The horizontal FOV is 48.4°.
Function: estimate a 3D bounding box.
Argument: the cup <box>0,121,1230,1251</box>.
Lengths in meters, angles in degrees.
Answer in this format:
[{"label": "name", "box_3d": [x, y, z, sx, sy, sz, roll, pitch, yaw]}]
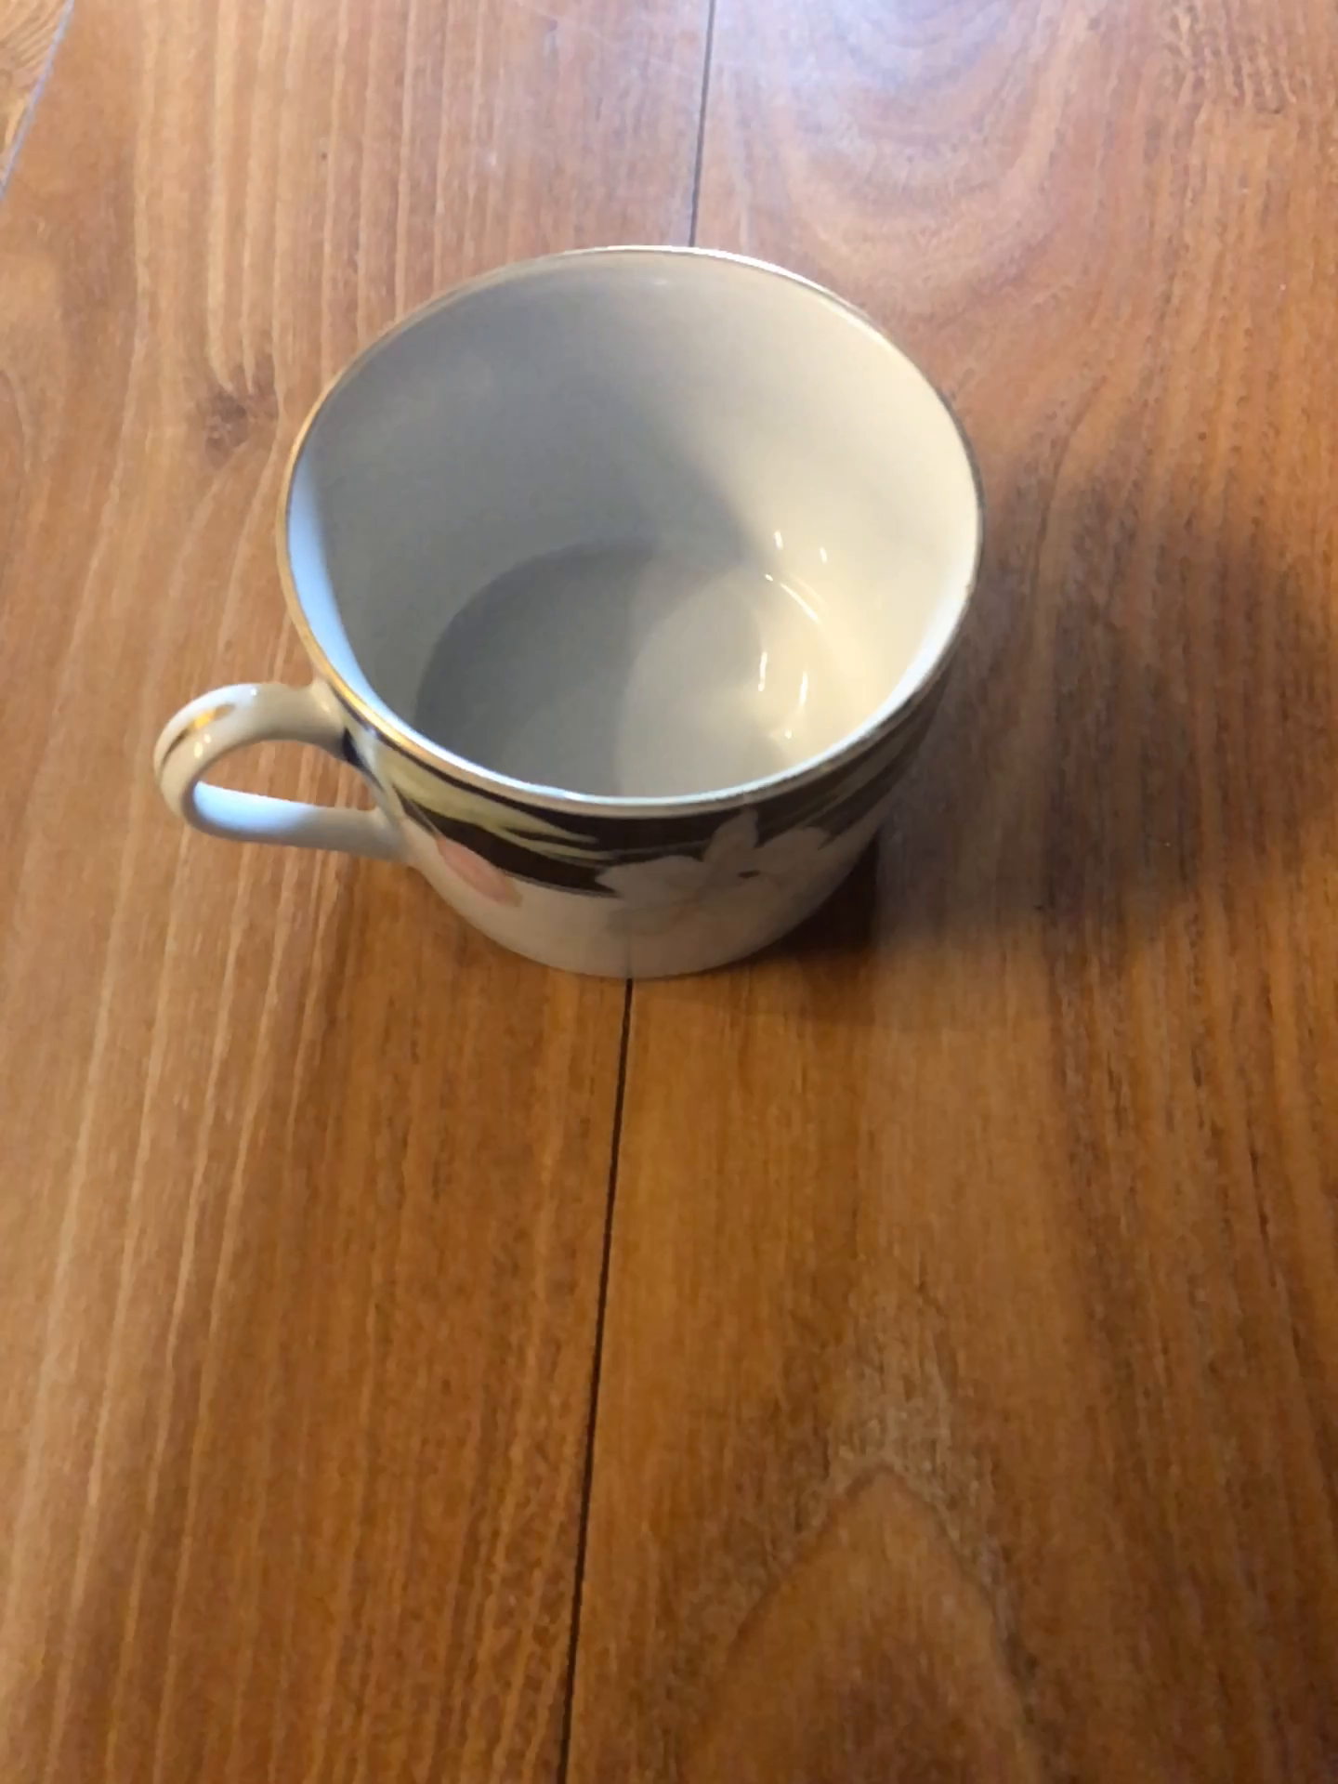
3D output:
[{"label": "cup", "box_3d": [-0.010, -0.026, 0.192, 0.110, 0.060, 0.090, -27, 69, -11]}]
